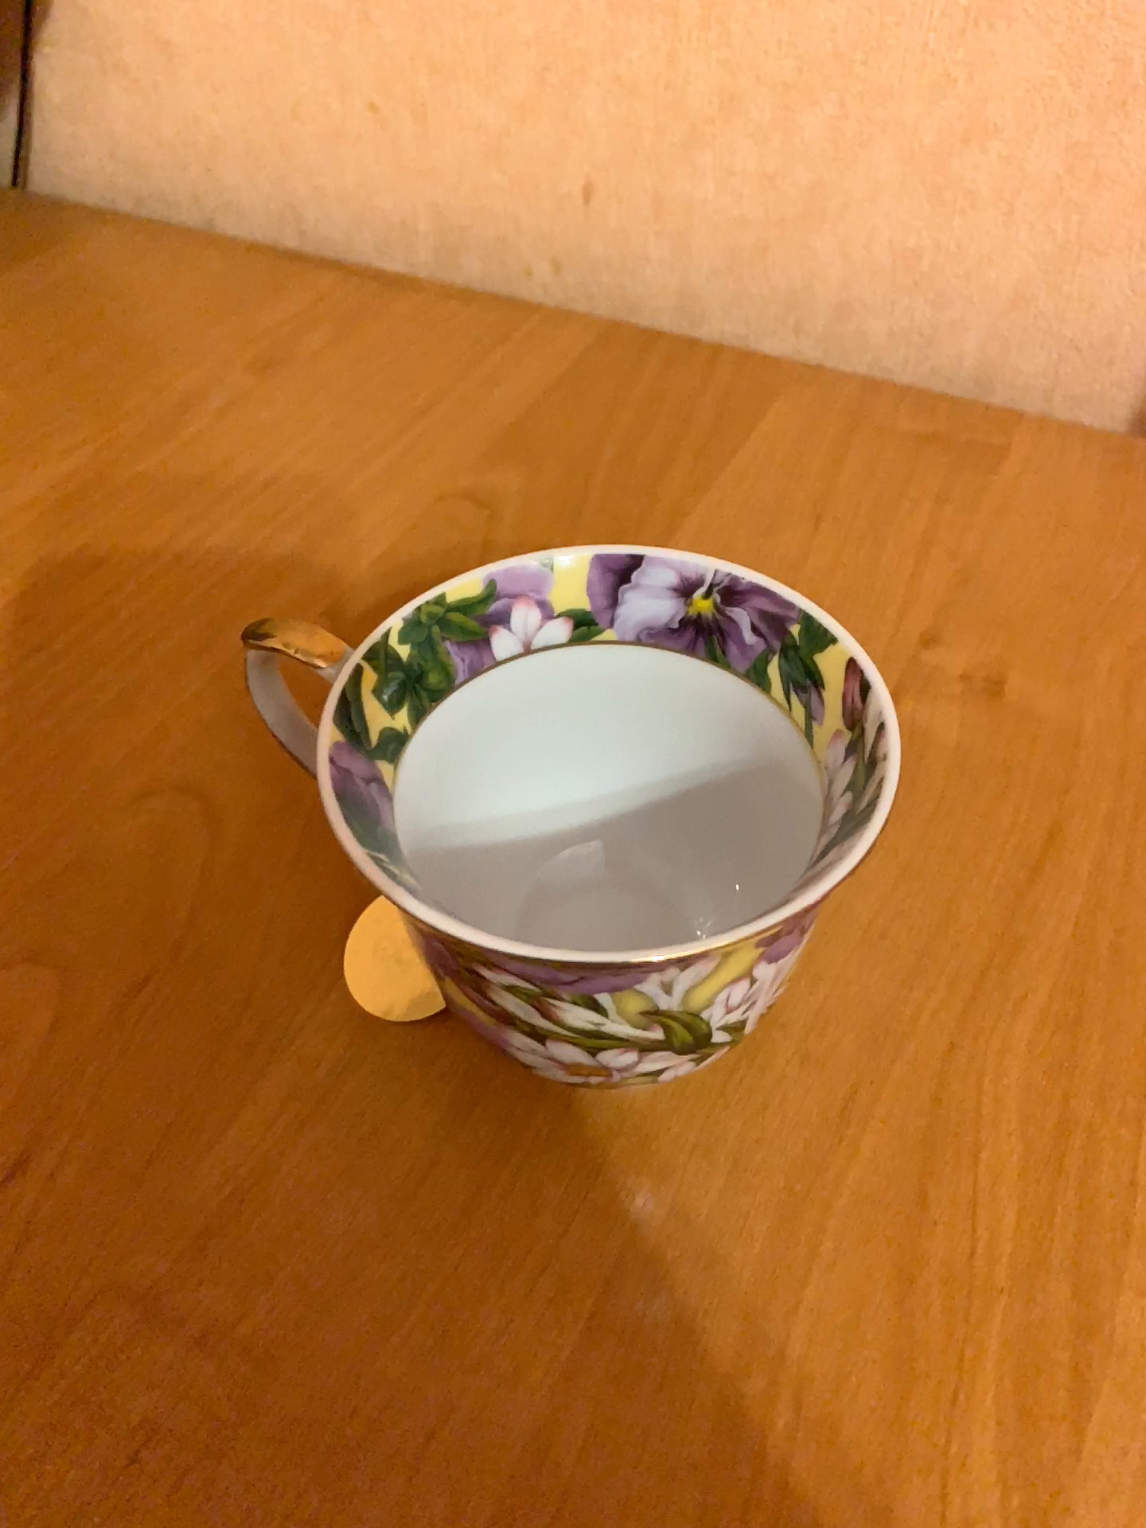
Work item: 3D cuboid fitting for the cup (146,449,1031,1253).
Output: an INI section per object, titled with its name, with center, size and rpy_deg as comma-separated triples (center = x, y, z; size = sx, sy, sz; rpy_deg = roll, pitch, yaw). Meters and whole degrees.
[cup]
center = 0.004, 0.009, 0.203
size = 0.109, 0.069, 0.077
rpy_deg = 22, 51, 21
